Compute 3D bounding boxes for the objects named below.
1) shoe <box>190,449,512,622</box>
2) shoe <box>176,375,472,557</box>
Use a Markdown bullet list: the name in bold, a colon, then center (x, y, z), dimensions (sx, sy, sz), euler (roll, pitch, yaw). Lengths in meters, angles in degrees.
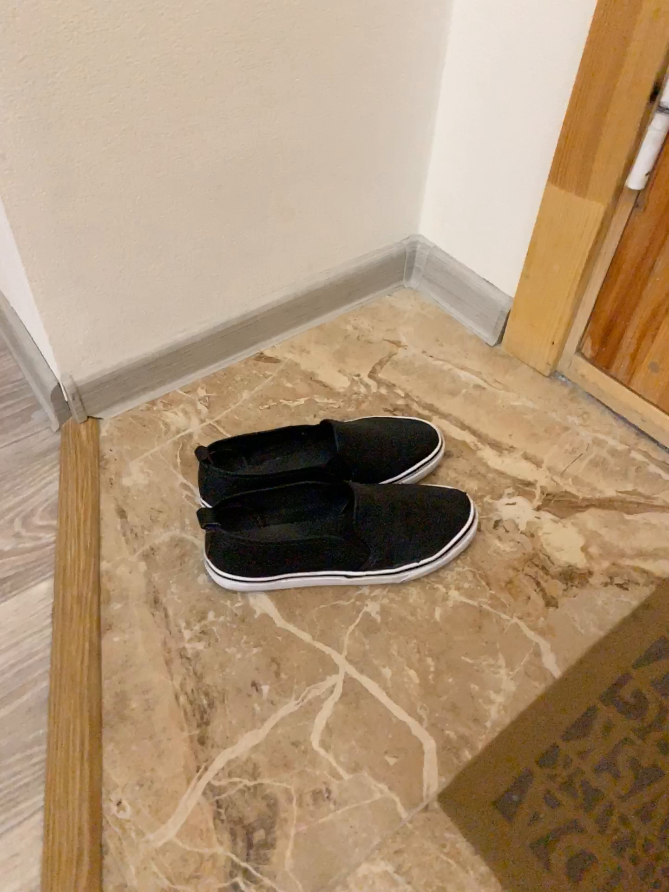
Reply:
- **shoe**: center (0.011, 0.073, 0.582), dimensions (0.250, 0.060, 0.090), euler (-8, 48, -10)
- **shoe**: center (-0.009, 0.013, 0.634), dimensions (0.250, 0.060, 0.090), euler (-15, 50, -17)
